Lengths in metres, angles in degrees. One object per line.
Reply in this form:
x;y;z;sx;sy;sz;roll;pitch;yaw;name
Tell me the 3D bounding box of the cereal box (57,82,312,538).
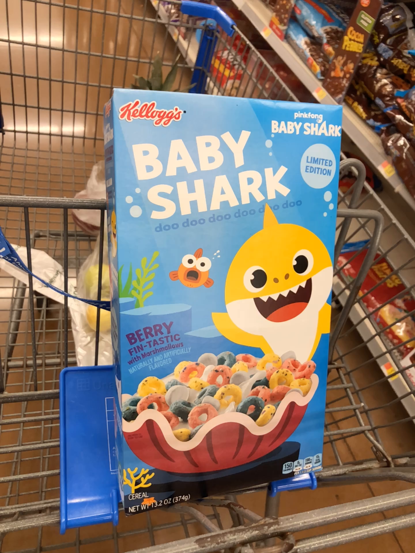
-0.020;0.028;0.397;0.190;0.340;0.070;-4;12;-21;cereal box
